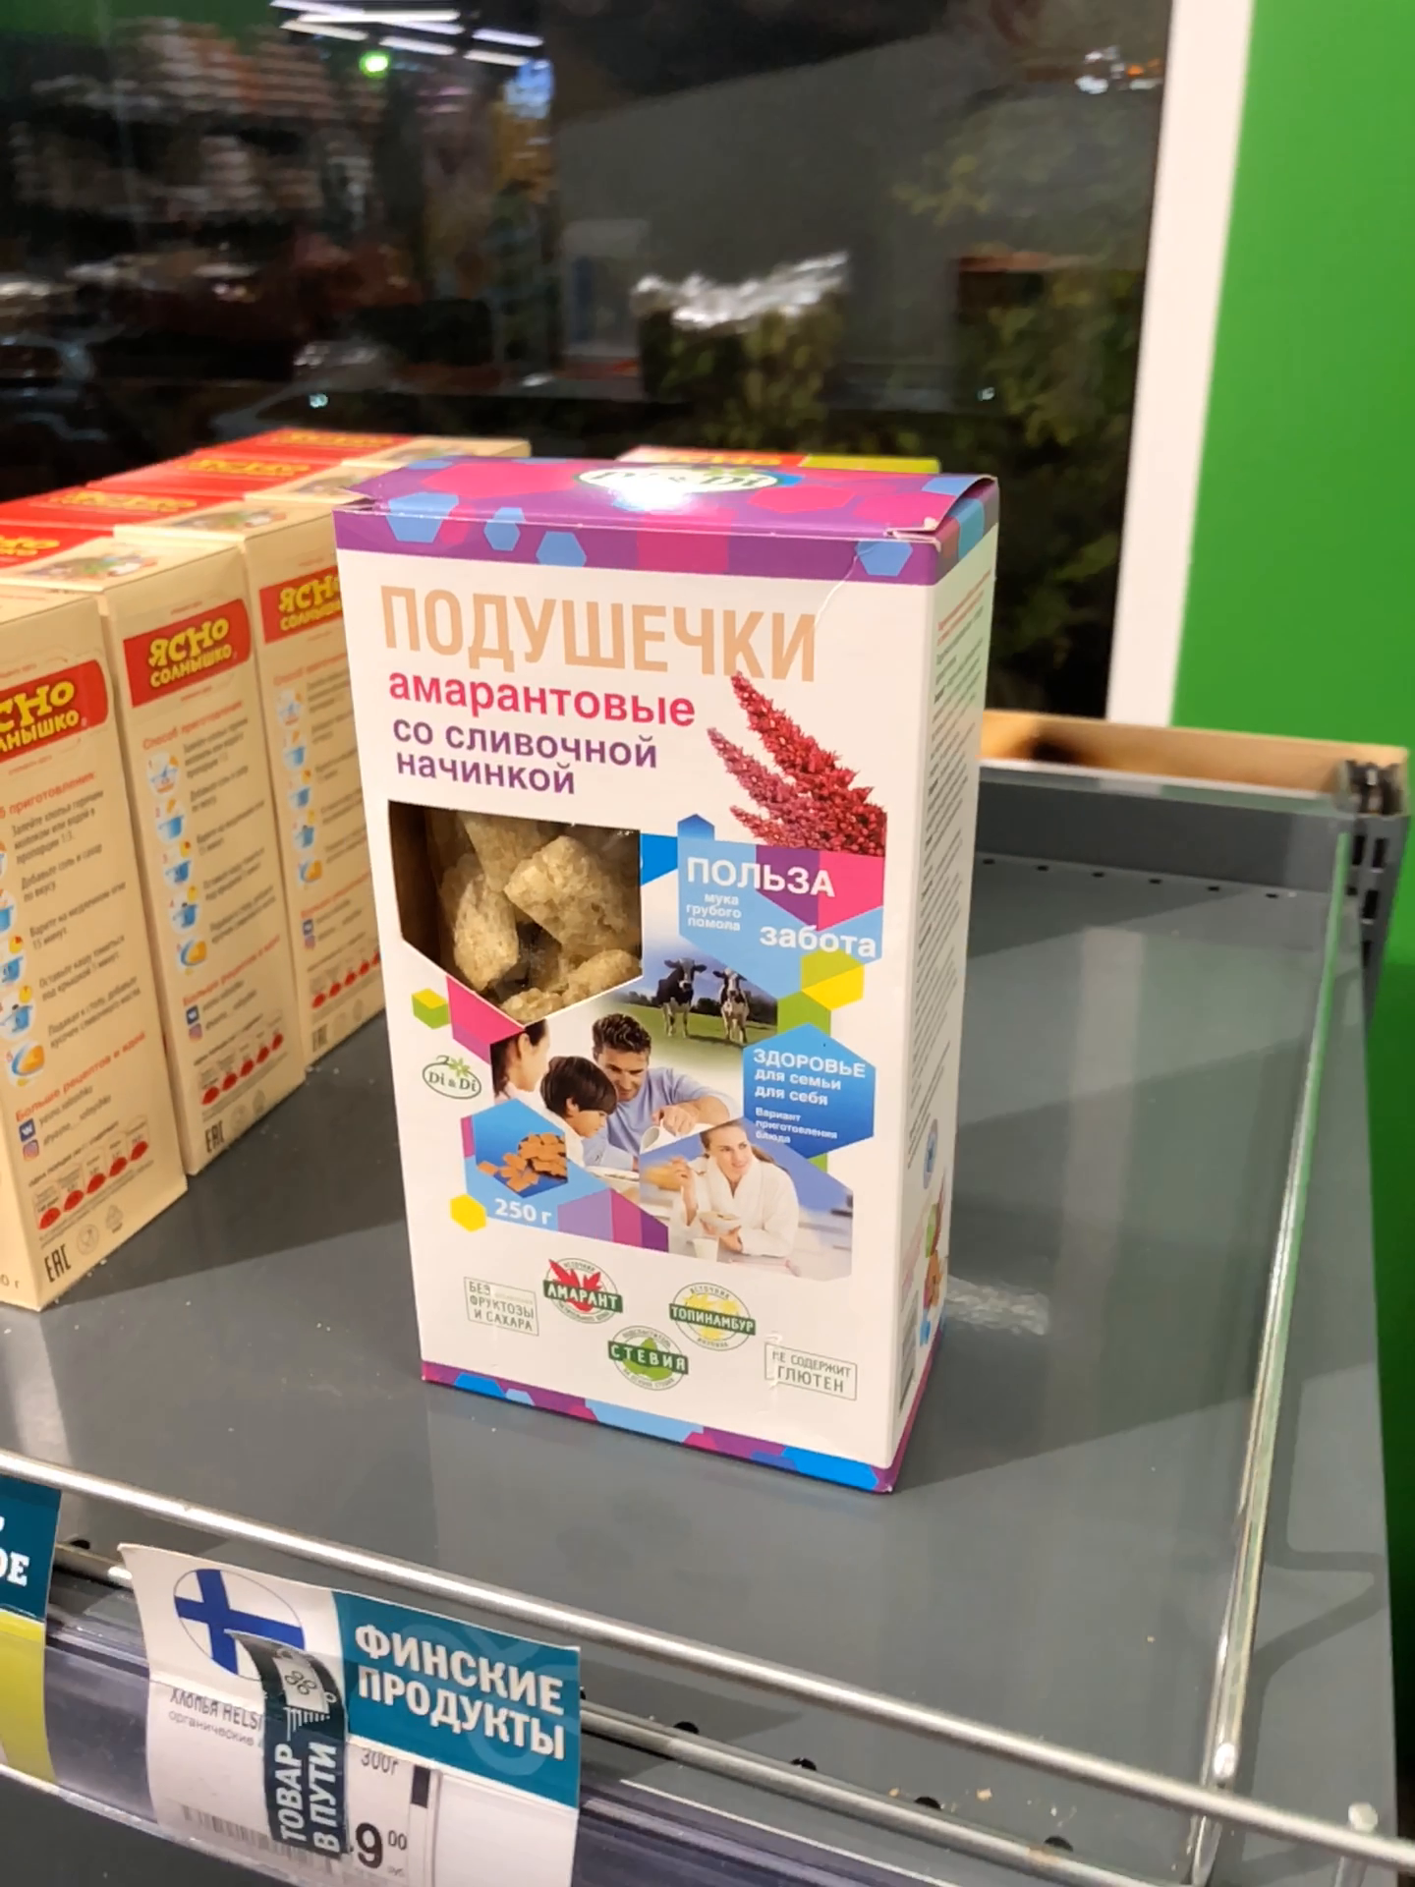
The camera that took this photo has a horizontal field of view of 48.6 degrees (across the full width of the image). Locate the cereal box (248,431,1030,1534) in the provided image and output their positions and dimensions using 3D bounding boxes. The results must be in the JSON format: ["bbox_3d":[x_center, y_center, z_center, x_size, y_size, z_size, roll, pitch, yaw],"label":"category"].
[{"bbox_3d":[-0.010,0.007,0.368,0.140,0.229,0.080,8,27,18],"label":"cereal box"}]
